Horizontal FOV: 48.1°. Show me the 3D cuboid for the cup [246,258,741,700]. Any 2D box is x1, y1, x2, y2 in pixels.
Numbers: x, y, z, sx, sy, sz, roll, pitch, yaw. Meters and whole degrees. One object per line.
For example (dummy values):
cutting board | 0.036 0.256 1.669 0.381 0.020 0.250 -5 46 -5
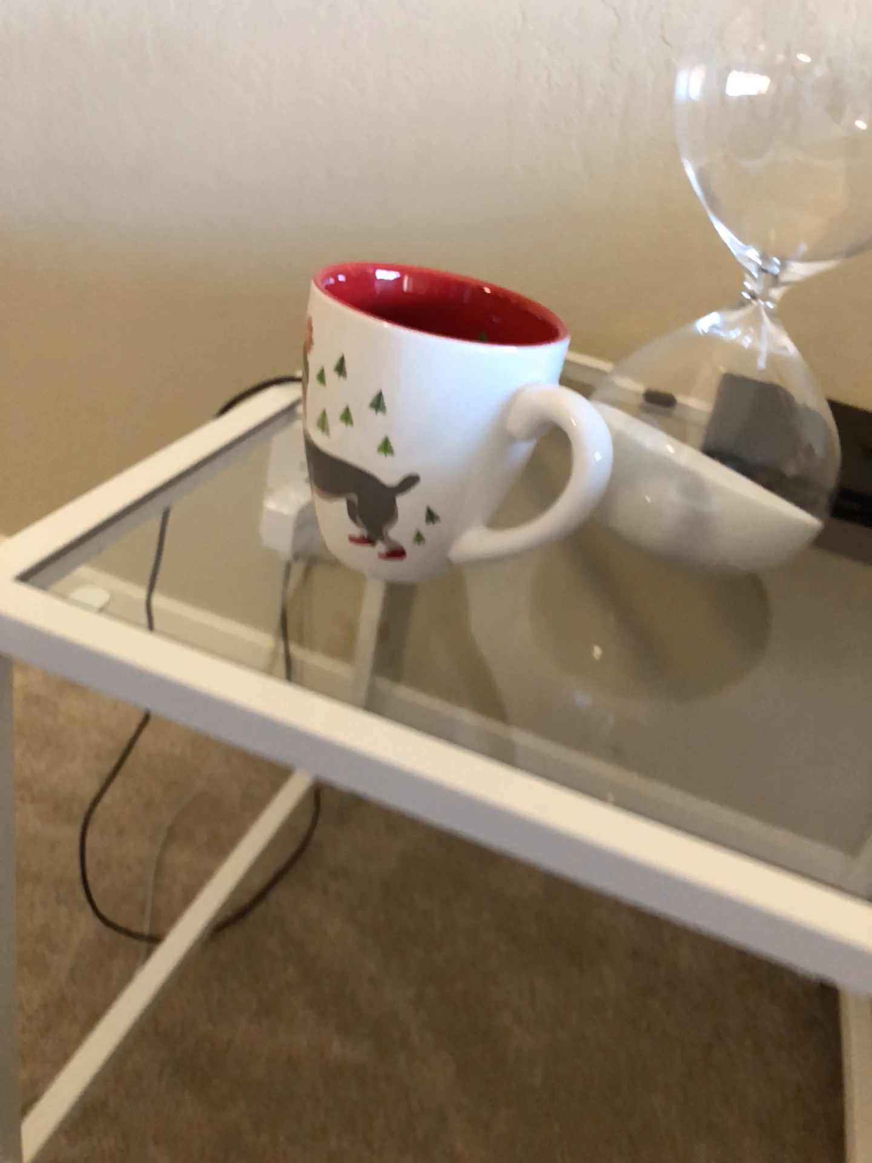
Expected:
cup | 0.015 -0.052 0.391 0.150 0.109 0.100 34 35 33
